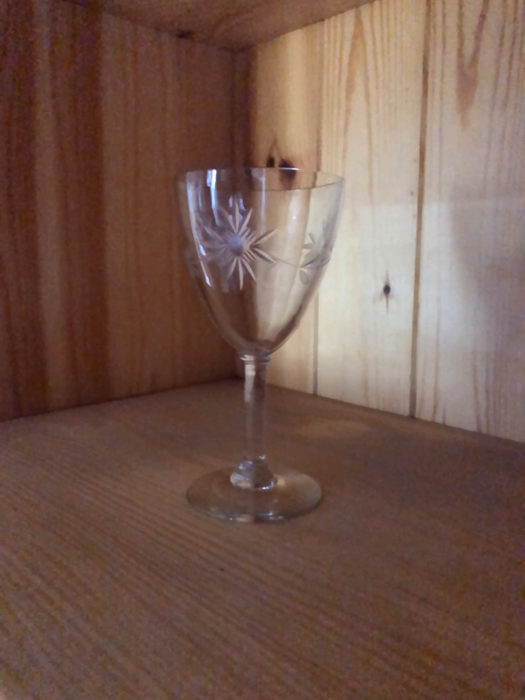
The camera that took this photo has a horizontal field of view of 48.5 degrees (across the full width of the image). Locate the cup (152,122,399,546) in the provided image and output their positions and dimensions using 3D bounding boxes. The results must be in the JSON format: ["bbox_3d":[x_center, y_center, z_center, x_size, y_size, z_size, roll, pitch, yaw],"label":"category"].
[{"bbox_3d":[0.002,-0.009,0.238,0.070,0.140,0.070,1,8,0],"label":"cup"}]
